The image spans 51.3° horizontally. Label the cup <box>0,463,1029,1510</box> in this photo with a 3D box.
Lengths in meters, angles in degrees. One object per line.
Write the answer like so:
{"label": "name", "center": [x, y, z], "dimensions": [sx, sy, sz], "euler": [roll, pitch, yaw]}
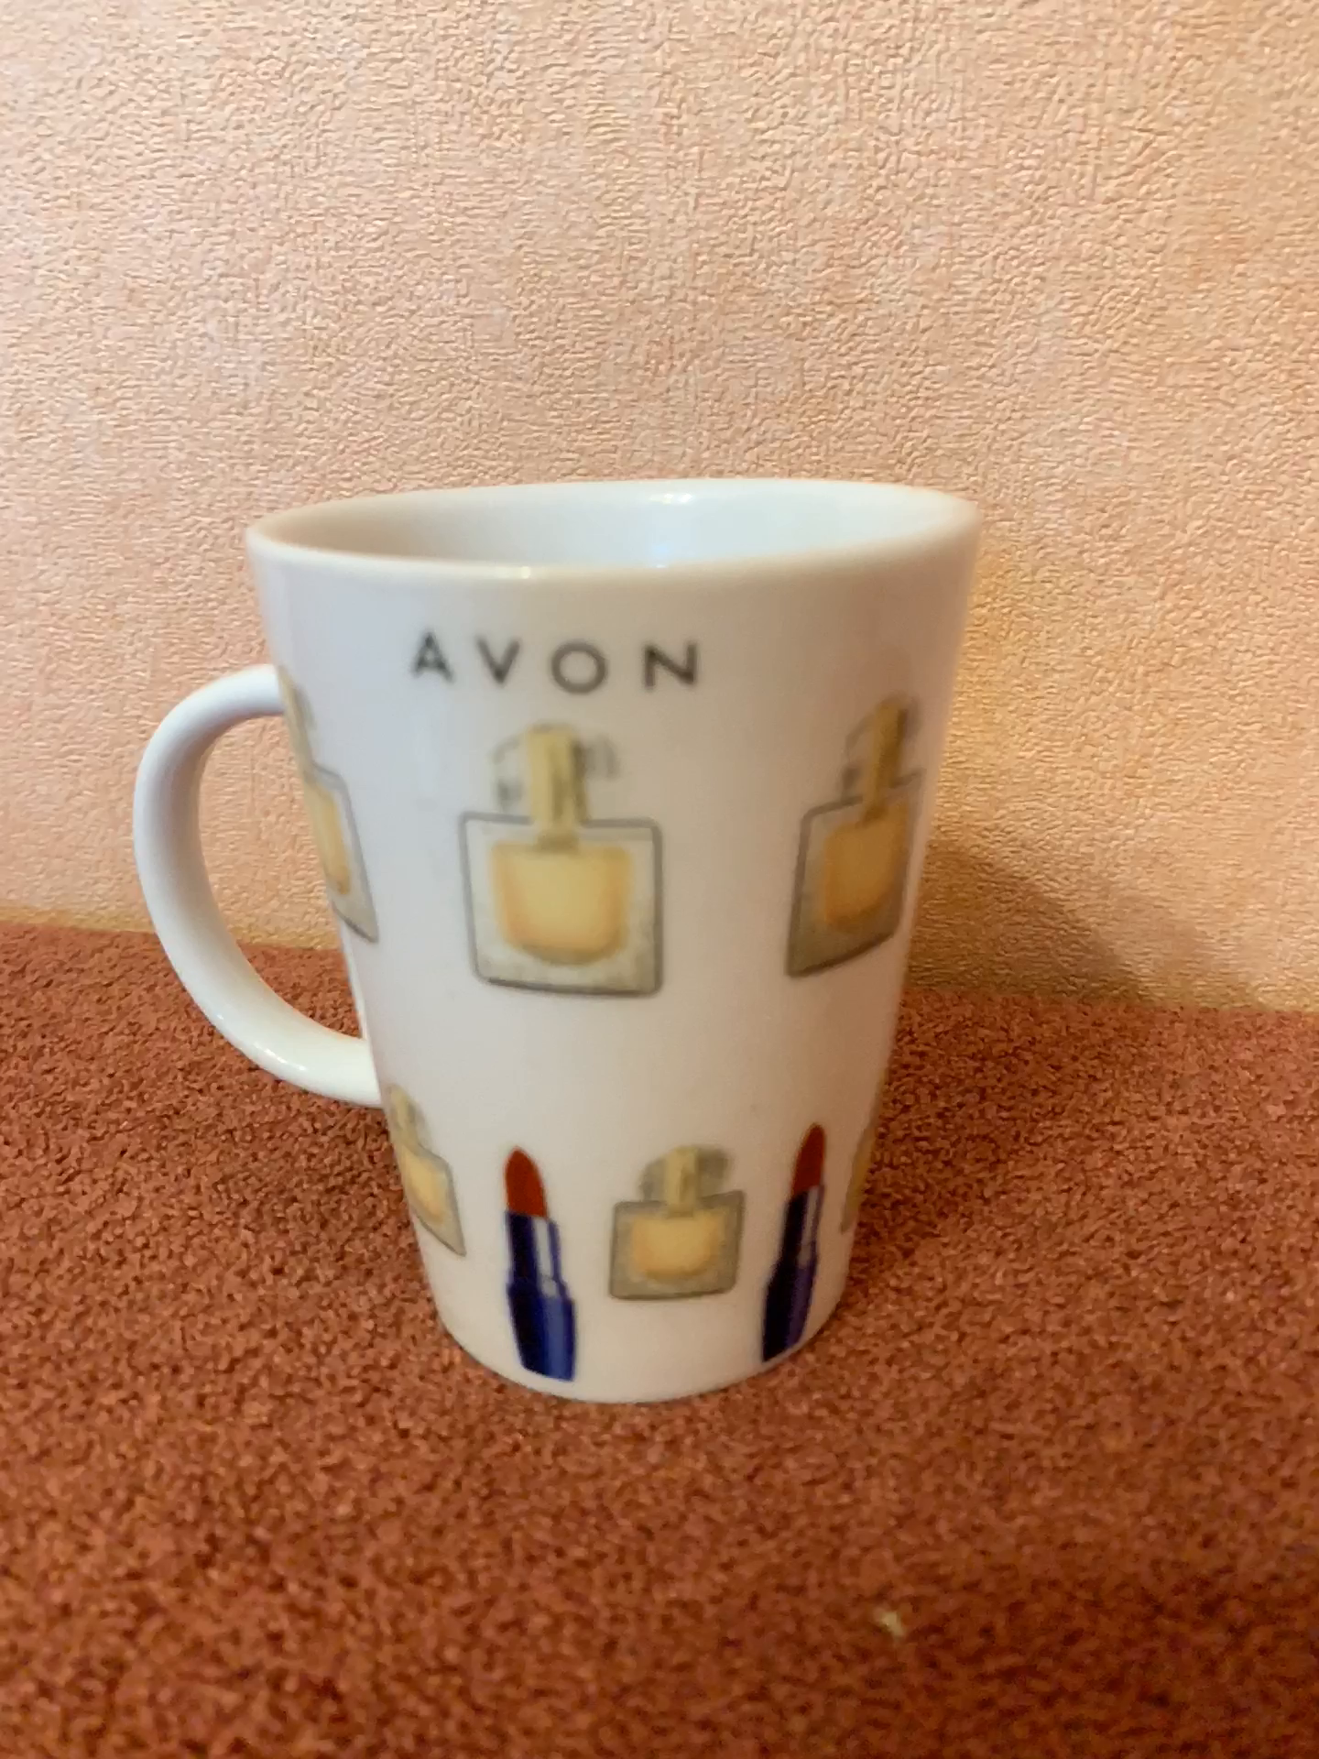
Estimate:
{"label": "cup", "center": [-0.014, 0.002, 0.169], "dimensions": [0.103, 0.093, 0.071], "euler": [7, 24, 18]}
